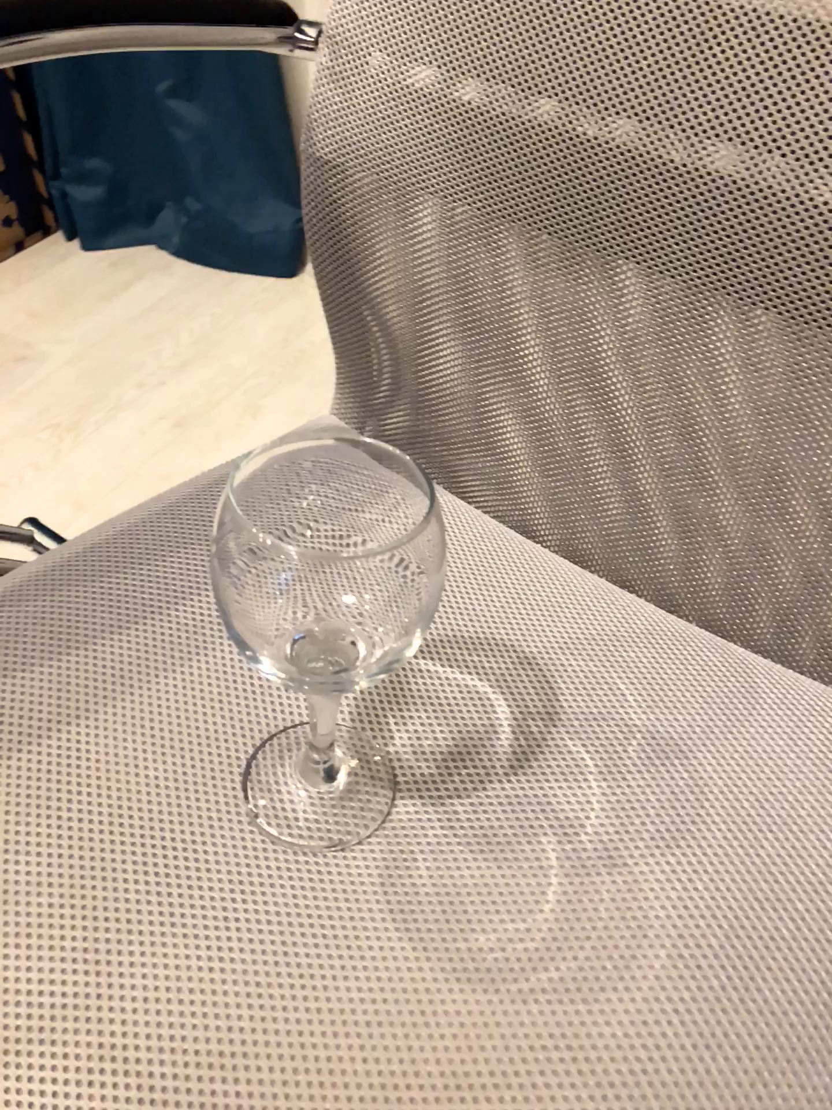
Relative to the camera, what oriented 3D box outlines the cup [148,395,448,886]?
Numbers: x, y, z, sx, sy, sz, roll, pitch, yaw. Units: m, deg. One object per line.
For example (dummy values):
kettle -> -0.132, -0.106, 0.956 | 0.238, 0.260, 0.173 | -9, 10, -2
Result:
cup -> -0.032, 0.039, 0.347 | 0.080, 0.172, 0.089 | 3, 43, 3
